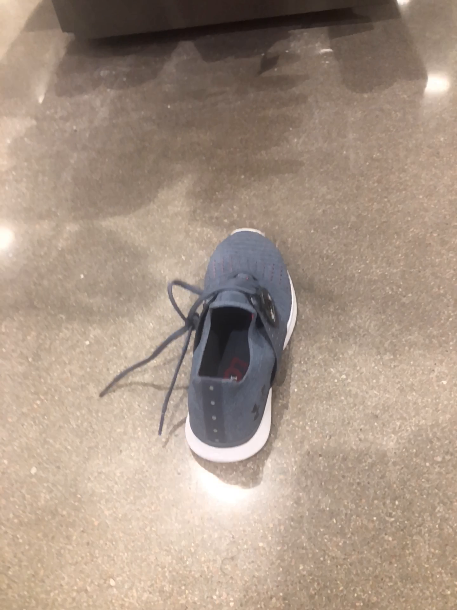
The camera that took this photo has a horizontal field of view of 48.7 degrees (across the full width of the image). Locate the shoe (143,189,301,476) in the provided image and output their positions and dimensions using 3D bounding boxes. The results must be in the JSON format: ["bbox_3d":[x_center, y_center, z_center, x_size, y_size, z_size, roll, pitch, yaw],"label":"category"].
[{"bbox_3d":[0.010,0.014,0.482,0.100,0.110,0.251,3,51,10],"label":"shoe"}]
